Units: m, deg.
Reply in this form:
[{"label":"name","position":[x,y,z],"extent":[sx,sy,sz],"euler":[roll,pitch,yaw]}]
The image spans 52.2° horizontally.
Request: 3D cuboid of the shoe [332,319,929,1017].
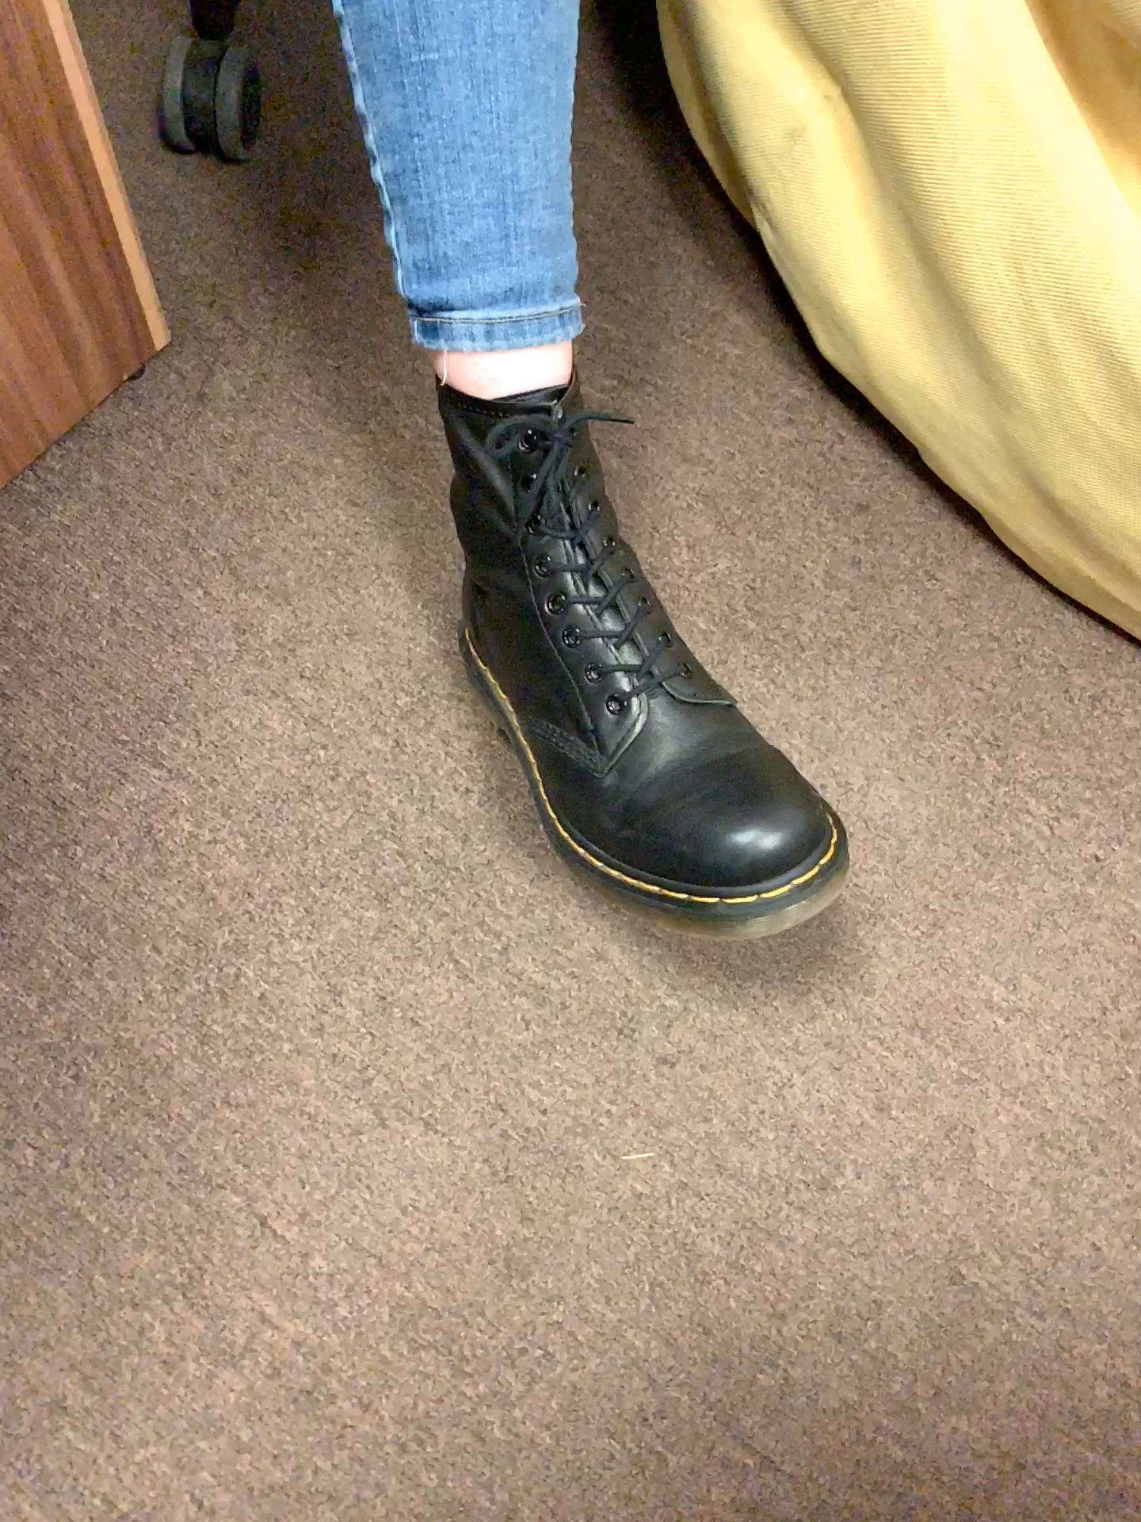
[{"label":"shoe","position":[0.010,-0.061,0.519],"extent":[0.120,0.150,0.290],"euler":[-22,44,-14]}]
